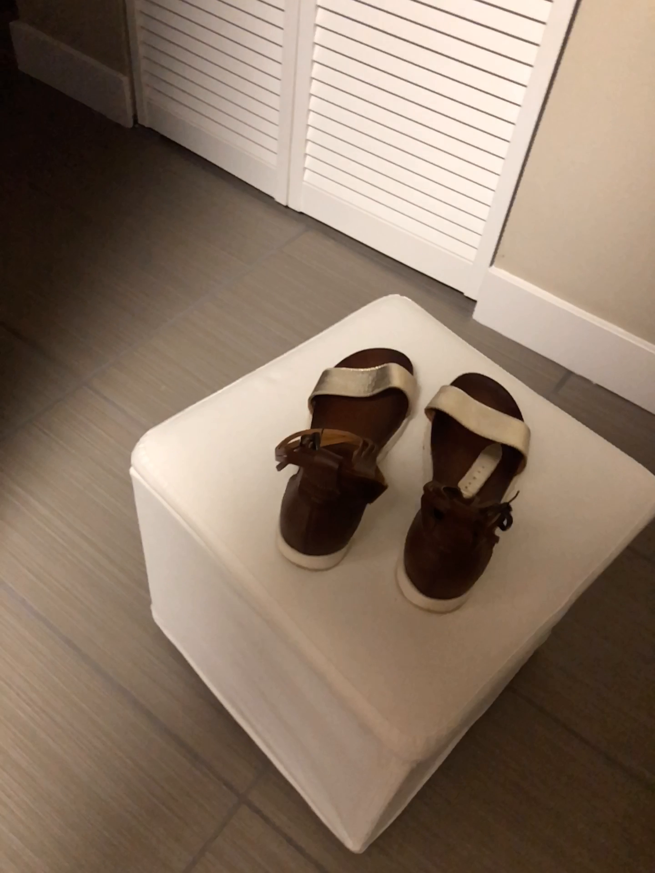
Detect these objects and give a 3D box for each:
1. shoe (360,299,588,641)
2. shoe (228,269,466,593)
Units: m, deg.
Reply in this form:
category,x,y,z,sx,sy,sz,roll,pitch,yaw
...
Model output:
category,x,y,z,sx,sy,sz,roll,pitch,yaw
shoe,0.126,0.014,0.593,0.110,0.090,0.261,20,50,9
shoe,0.023,-0.017,0.612,0.110,0.090,0.261,20,50,9
